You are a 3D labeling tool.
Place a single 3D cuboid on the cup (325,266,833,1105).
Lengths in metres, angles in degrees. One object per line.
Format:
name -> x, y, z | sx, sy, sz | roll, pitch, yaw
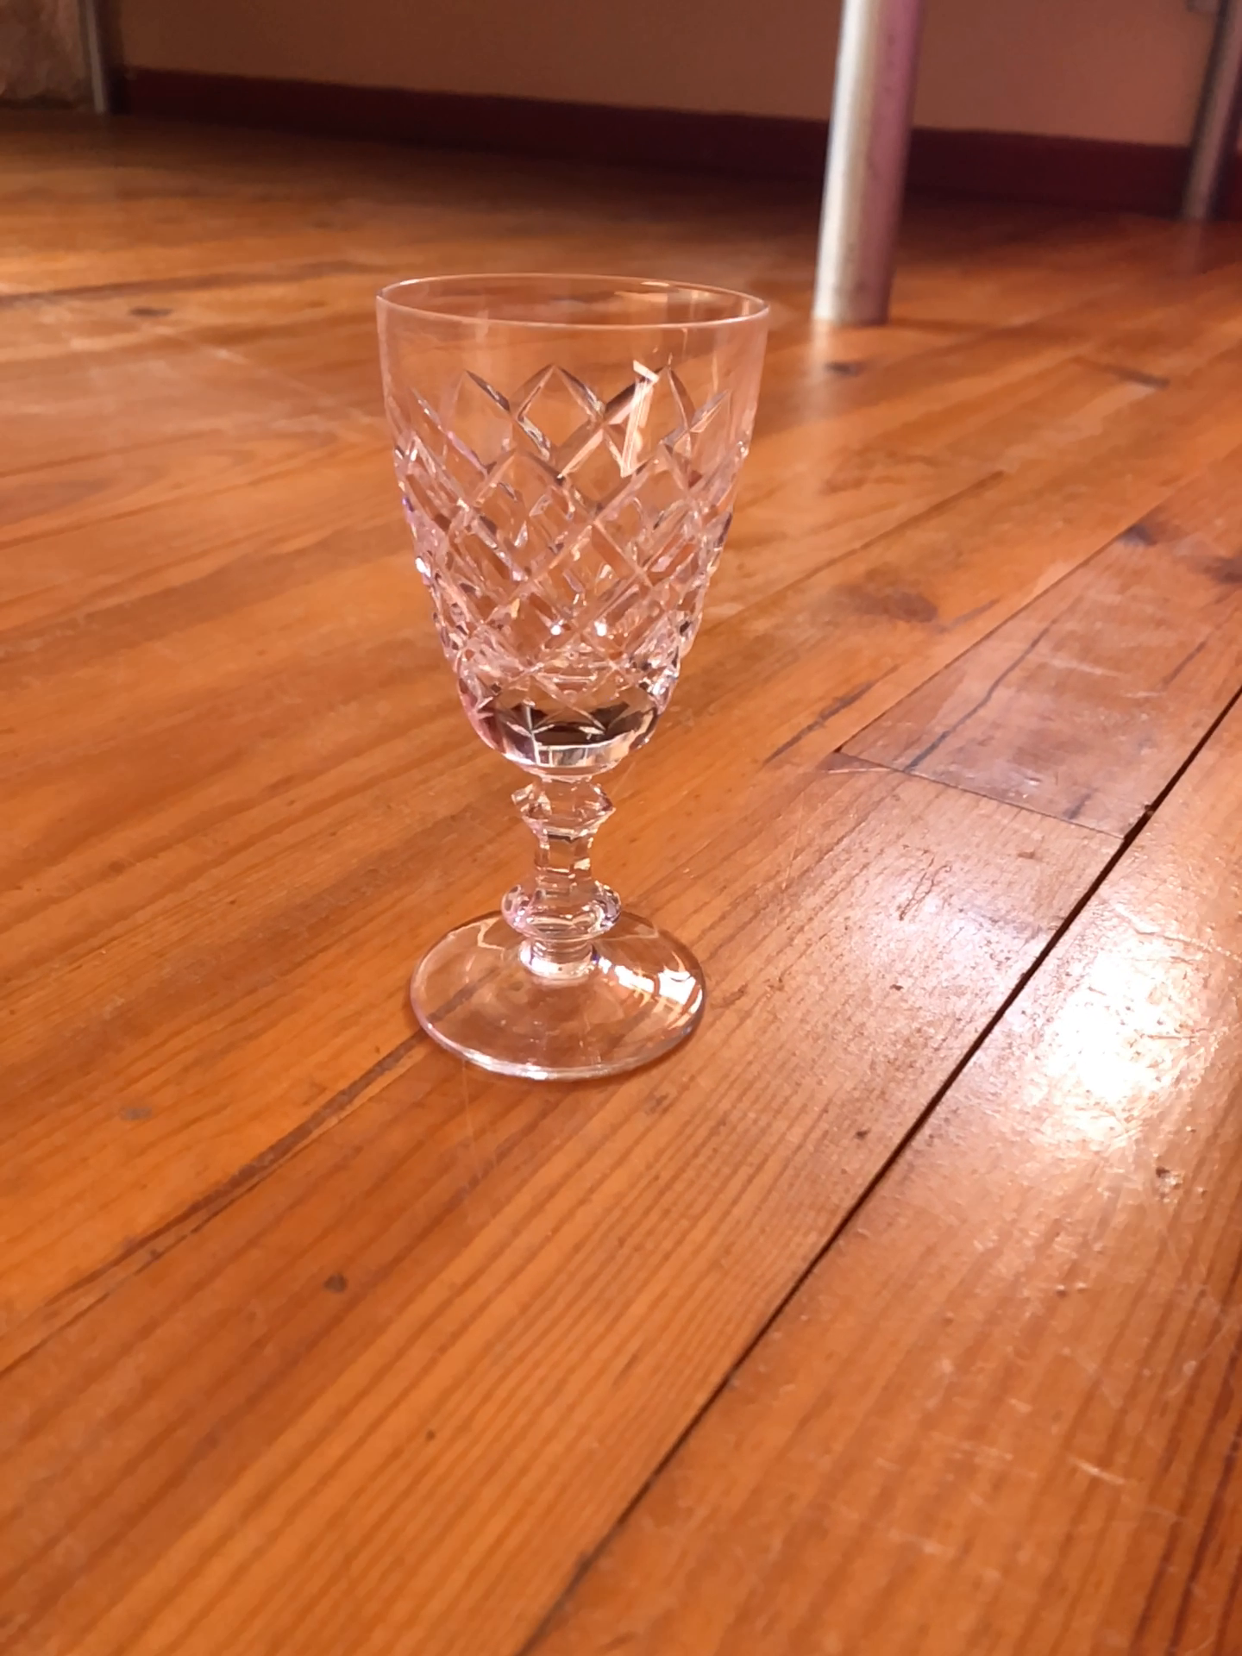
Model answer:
cup -> -0.009, -0.021, 0.211 | 0.059, 0.113, 0.057 | 2, 27, -1
